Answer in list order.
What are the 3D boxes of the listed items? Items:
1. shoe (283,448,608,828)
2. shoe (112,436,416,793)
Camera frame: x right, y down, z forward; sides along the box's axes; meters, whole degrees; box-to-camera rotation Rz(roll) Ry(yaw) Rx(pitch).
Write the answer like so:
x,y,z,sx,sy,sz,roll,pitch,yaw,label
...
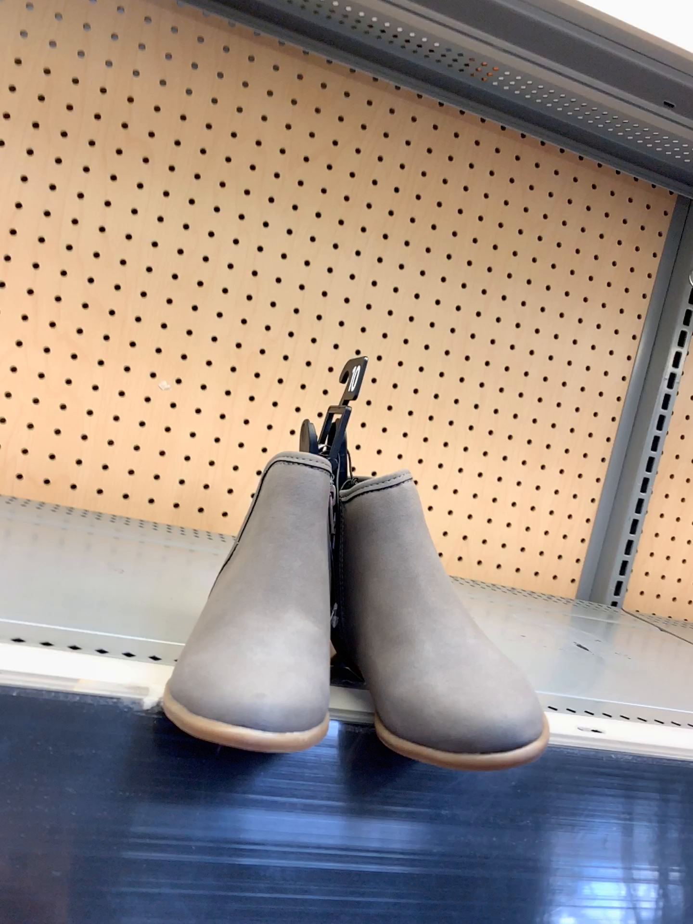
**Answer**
x,y,z,sx,sy,sz,roll,pitch,yaw,label
0.032,0.061,0.348,0.074,0.113,0.186,-4,8,-20,shoe
-0.033,0.049,0.340,0.087,0.103,0.196,10,4,-3,shoe
